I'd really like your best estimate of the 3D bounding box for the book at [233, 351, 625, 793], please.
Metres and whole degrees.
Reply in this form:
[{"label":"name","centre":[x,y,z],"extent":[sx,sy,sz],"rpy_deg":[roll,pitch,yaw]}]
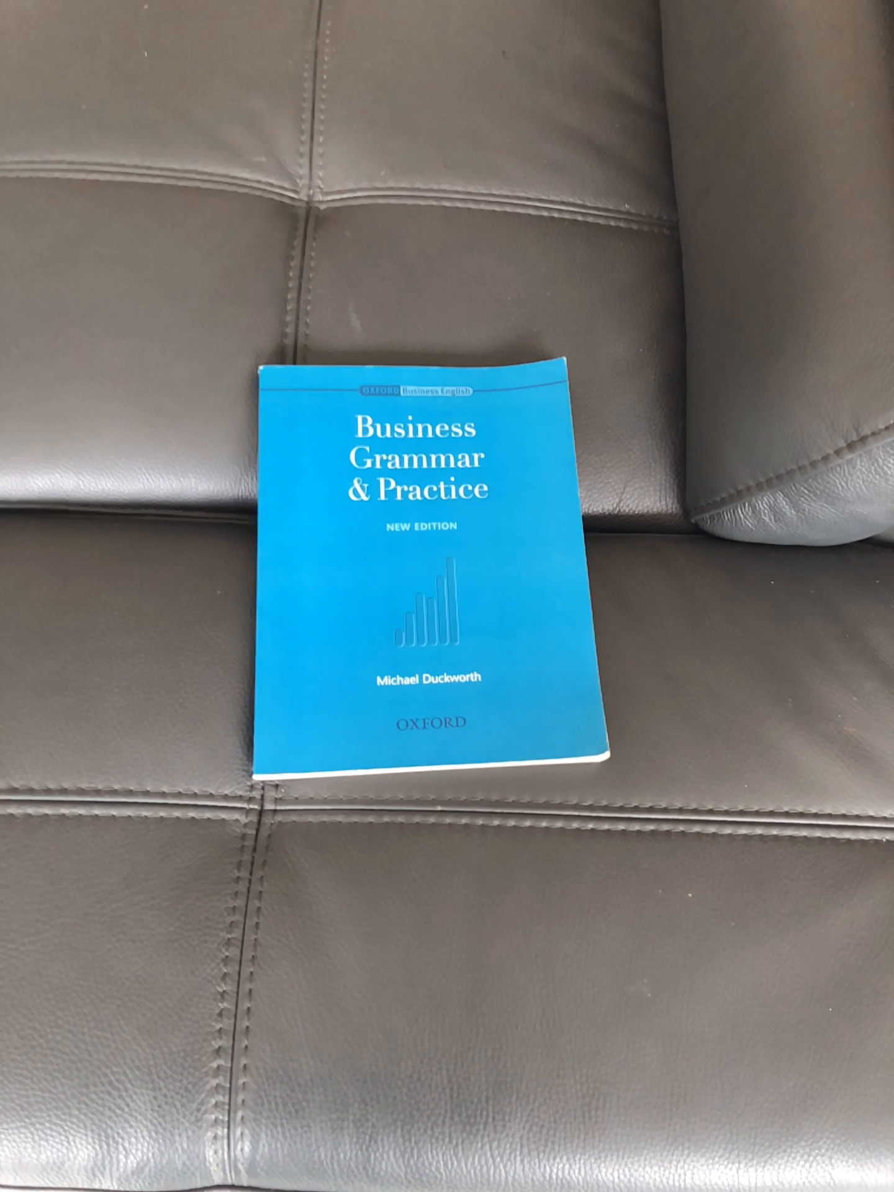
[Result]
[{"label":"book","centre":[-0.018,-0.024,0.627],"extent":[0.230,0.020,0.280],"rpy_deg":[-3,72,-2]}]
